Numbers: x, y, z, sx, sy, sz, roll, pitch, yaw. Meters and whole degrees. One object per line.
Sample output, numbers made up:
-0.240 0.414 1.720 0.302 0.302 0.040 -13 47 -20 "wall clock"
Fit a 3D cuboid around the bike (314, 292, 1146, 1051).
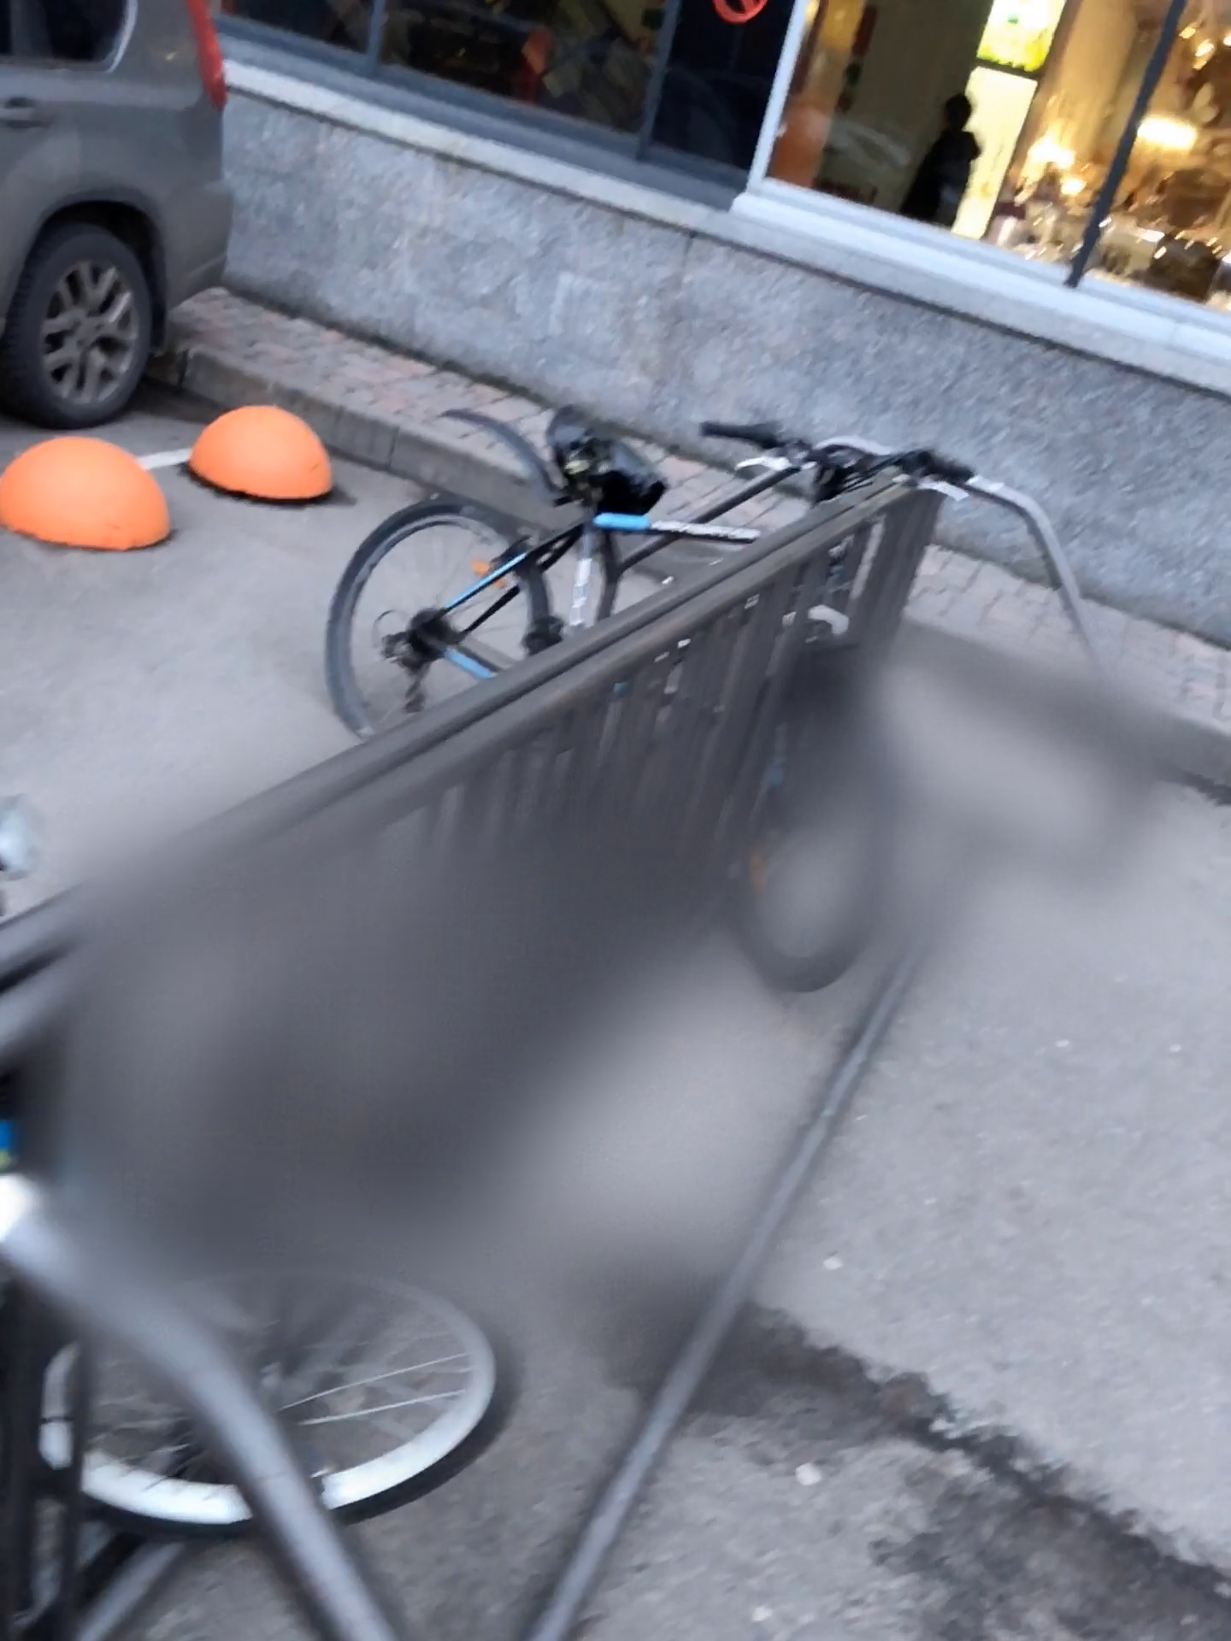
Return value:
0.081 -0.423 2.844 0.536 1.051 1.587 -13 35 -44 "bike"
